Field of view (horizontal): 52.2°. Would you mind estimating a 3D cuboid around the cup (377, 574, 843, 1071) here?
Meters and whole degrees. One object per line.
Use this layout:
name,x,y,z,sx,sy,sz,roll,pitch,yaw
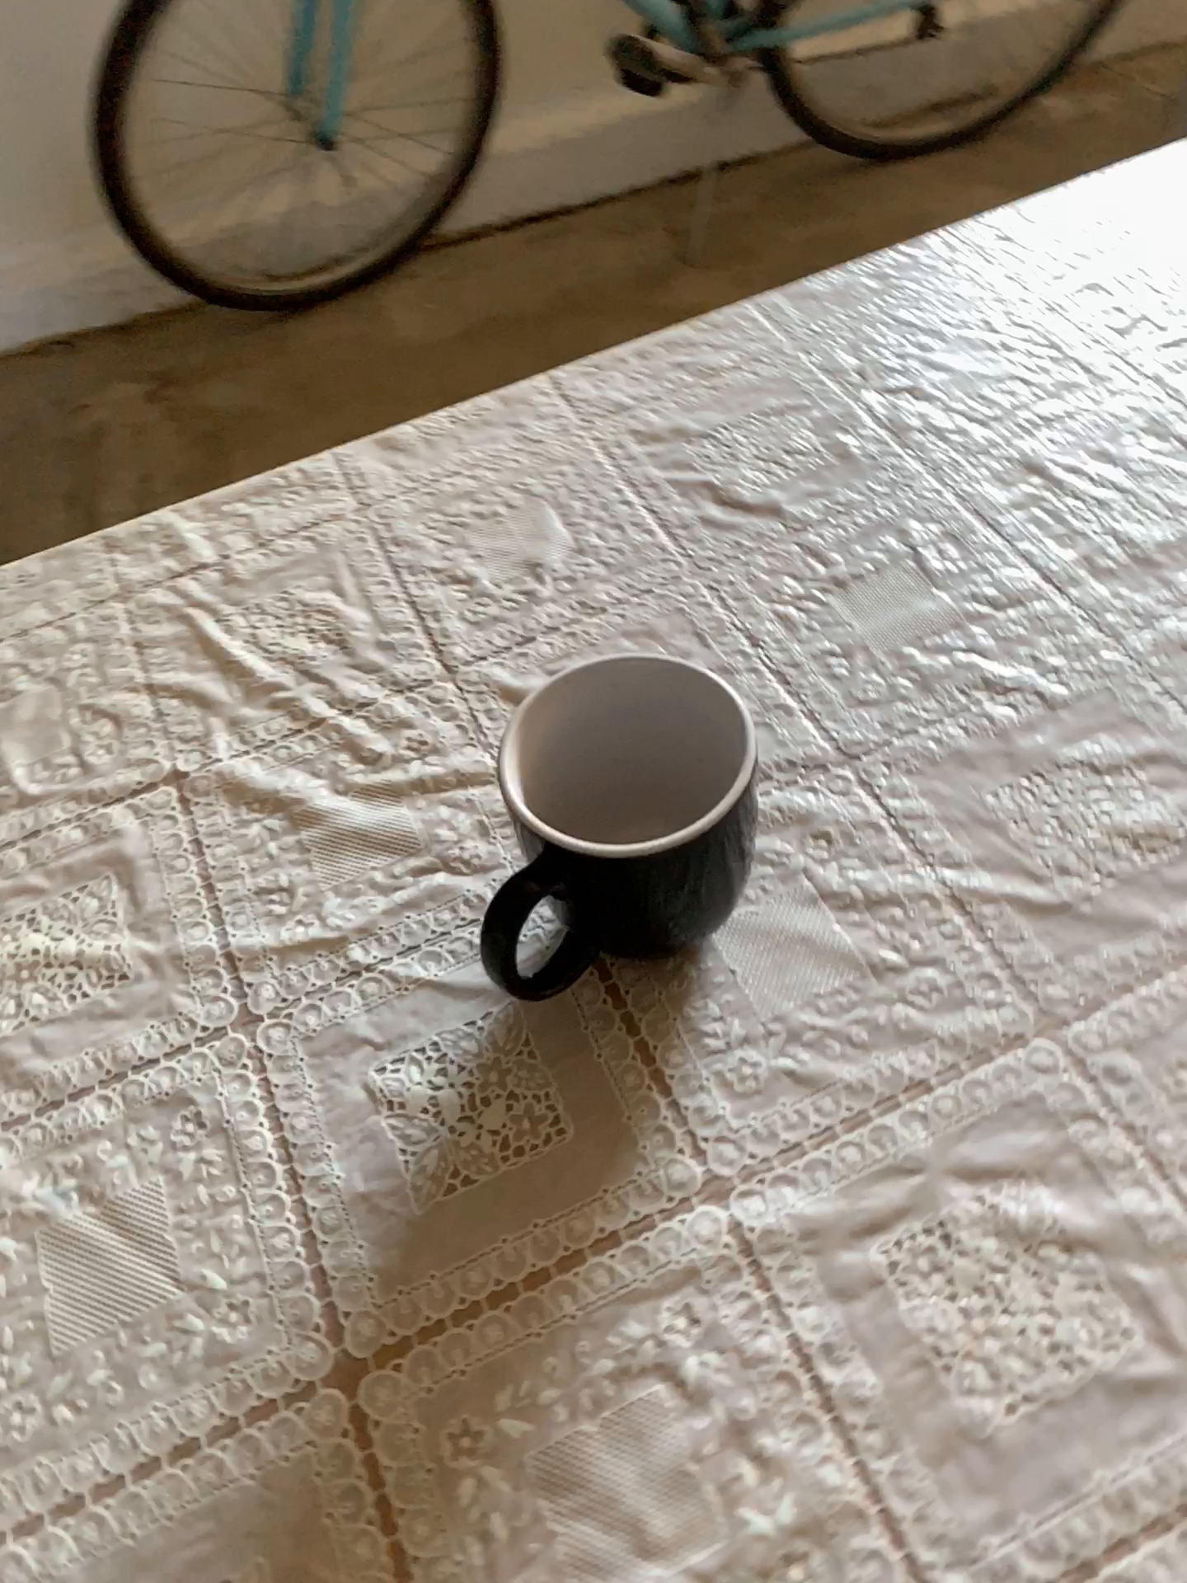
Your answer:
cup,0.011,0.011,0.482,0.140,0.100,0.100,-39,59,-18
